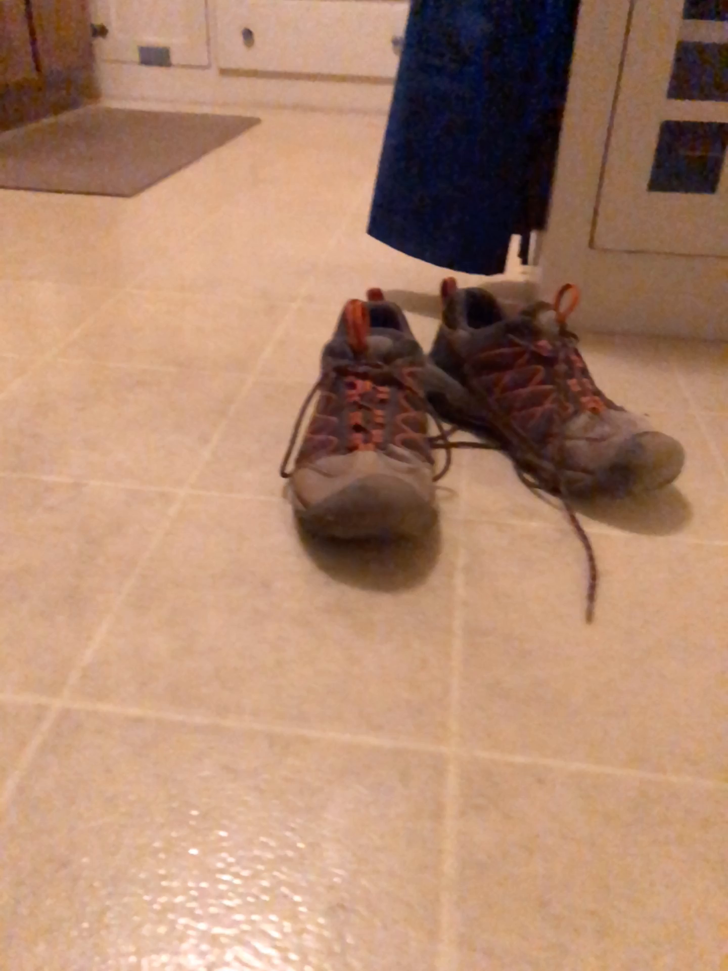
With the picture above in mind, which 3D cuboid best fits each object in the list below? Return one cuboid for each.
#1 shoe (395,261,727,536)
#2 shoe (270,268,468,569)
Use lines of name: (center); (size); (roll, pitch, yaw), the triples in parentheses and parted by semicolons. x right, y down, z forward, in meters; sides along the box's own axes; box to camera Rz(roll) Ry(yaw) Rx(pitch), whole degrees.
shoe: (0.167, -0.094, 0.716); (0.128, 0.121, 0.283); (-20, 38, -30)
shoe: (0.011, -0.074, 0.666); (0.127, 0.121, 0.294); (3, 32, 2)
